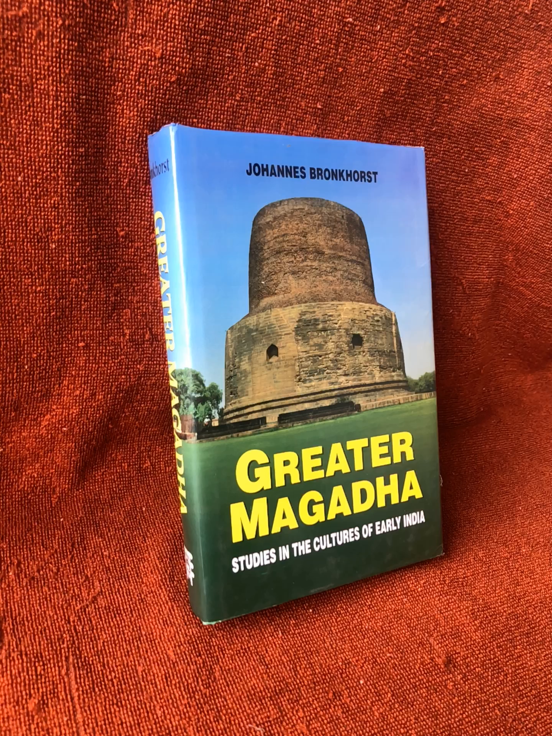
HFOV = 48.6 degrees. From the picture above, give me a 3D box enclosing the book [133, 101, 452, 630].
[{"bbox_3d":[0.016,-0.005,0.301,0.150,0.220,0.030,-5,5,-27],"label":"book"}]
